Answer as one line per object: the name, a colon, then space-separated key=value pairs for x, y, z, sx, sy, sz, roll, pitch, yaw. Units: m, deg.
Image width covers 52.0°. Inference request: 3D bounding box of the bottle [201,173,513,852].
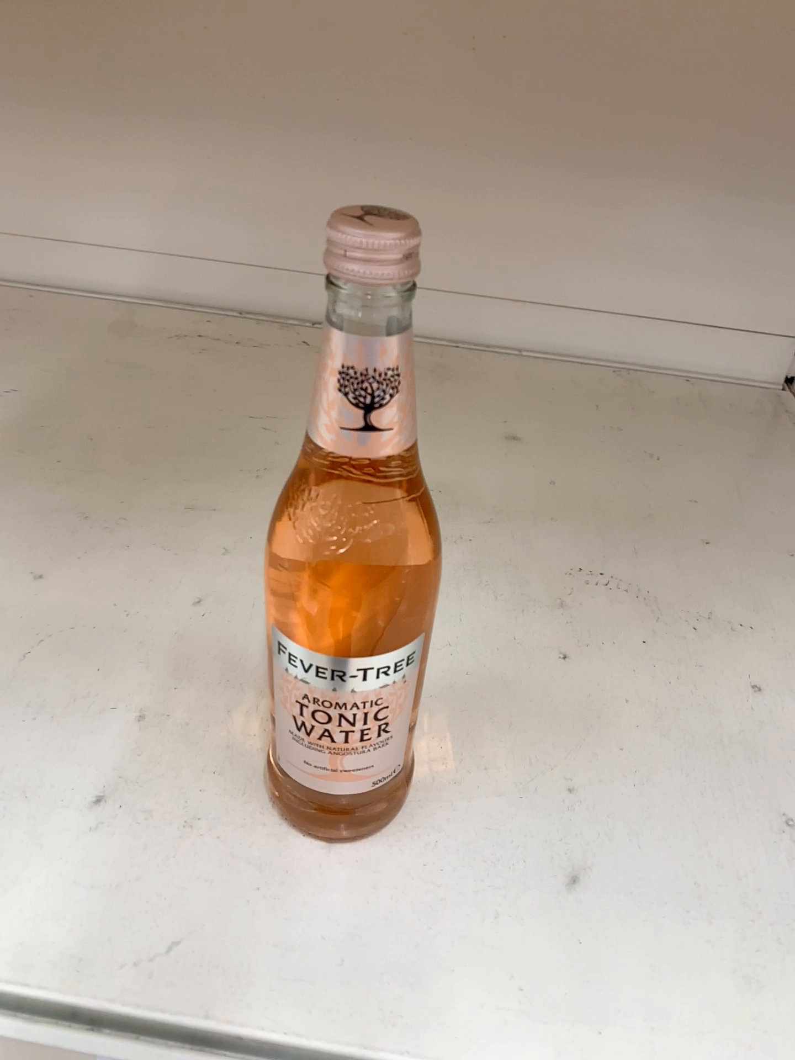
bottle: x=-0.019 y=0.014 z=0.304 sx=0.078 sy=0.253 sz=0.068 roll=5 pitch=36 yaw=-1
